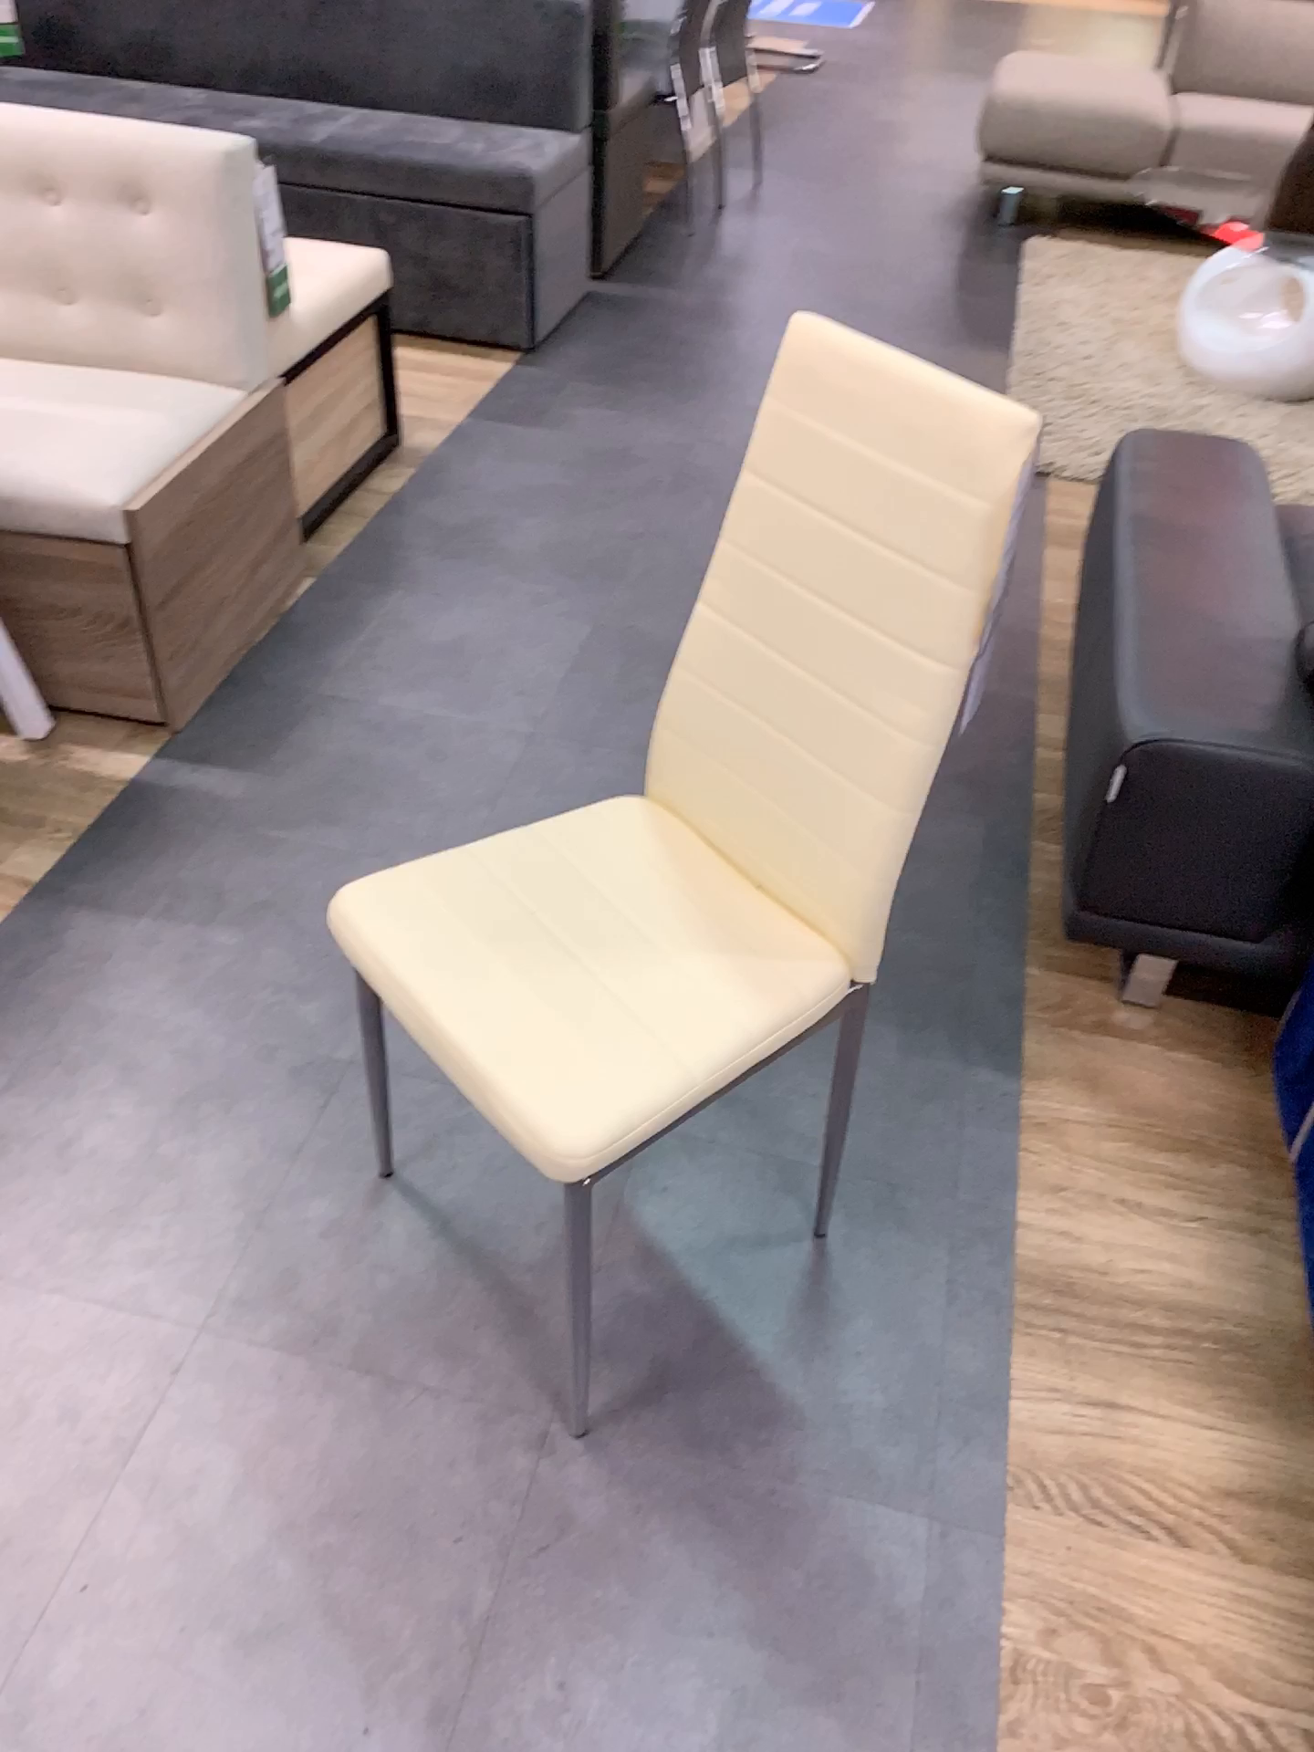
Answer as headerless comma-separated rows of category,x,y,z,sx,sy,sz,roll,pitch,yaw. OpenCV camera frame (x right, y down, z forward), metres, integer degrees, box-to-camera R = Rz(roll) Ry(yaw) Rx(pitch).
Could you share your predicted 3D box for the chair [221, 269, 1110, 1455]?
chair,-0.021,0.011,1.284,0.479,0.940,0.446,-25,48,-29
